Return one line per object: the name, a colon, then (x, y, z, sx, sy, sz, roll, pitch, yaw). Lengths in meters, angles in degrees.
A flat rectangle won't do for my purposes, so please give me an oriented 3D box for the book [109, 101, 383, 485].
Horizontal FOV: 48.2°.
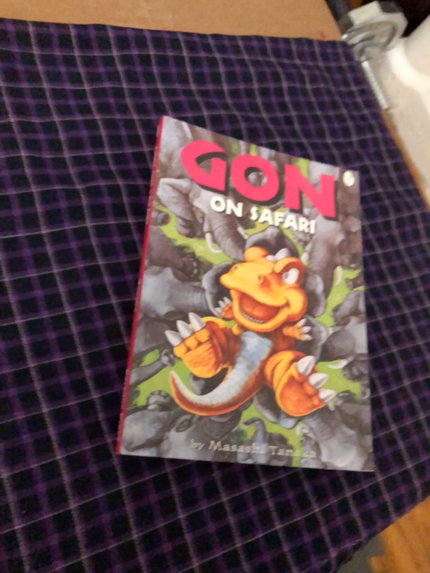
book: (0.029, 0.002, 0.291, 0.150, 0.020, 0.210, 12, 68, -19)
